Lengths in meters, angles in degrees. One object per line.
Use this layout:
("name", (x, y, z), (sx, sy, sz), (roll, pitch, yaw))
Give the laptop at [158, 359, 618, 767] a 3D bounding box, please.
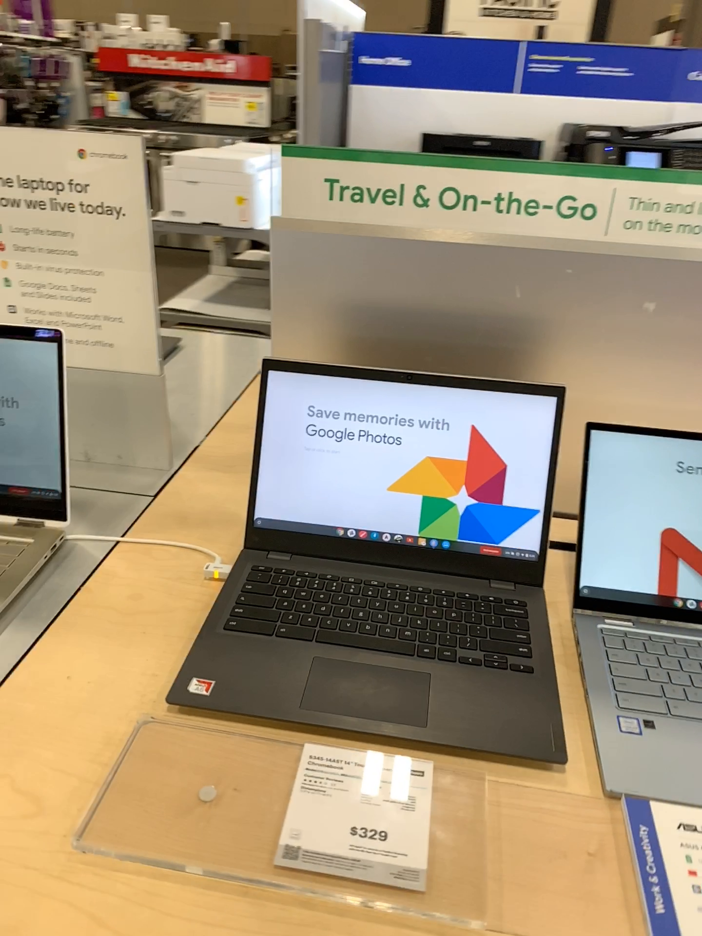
("laptop", (0.037, 0.056, 0.653), (0.309, 0.188, 0.300), (7, 28, 7))
